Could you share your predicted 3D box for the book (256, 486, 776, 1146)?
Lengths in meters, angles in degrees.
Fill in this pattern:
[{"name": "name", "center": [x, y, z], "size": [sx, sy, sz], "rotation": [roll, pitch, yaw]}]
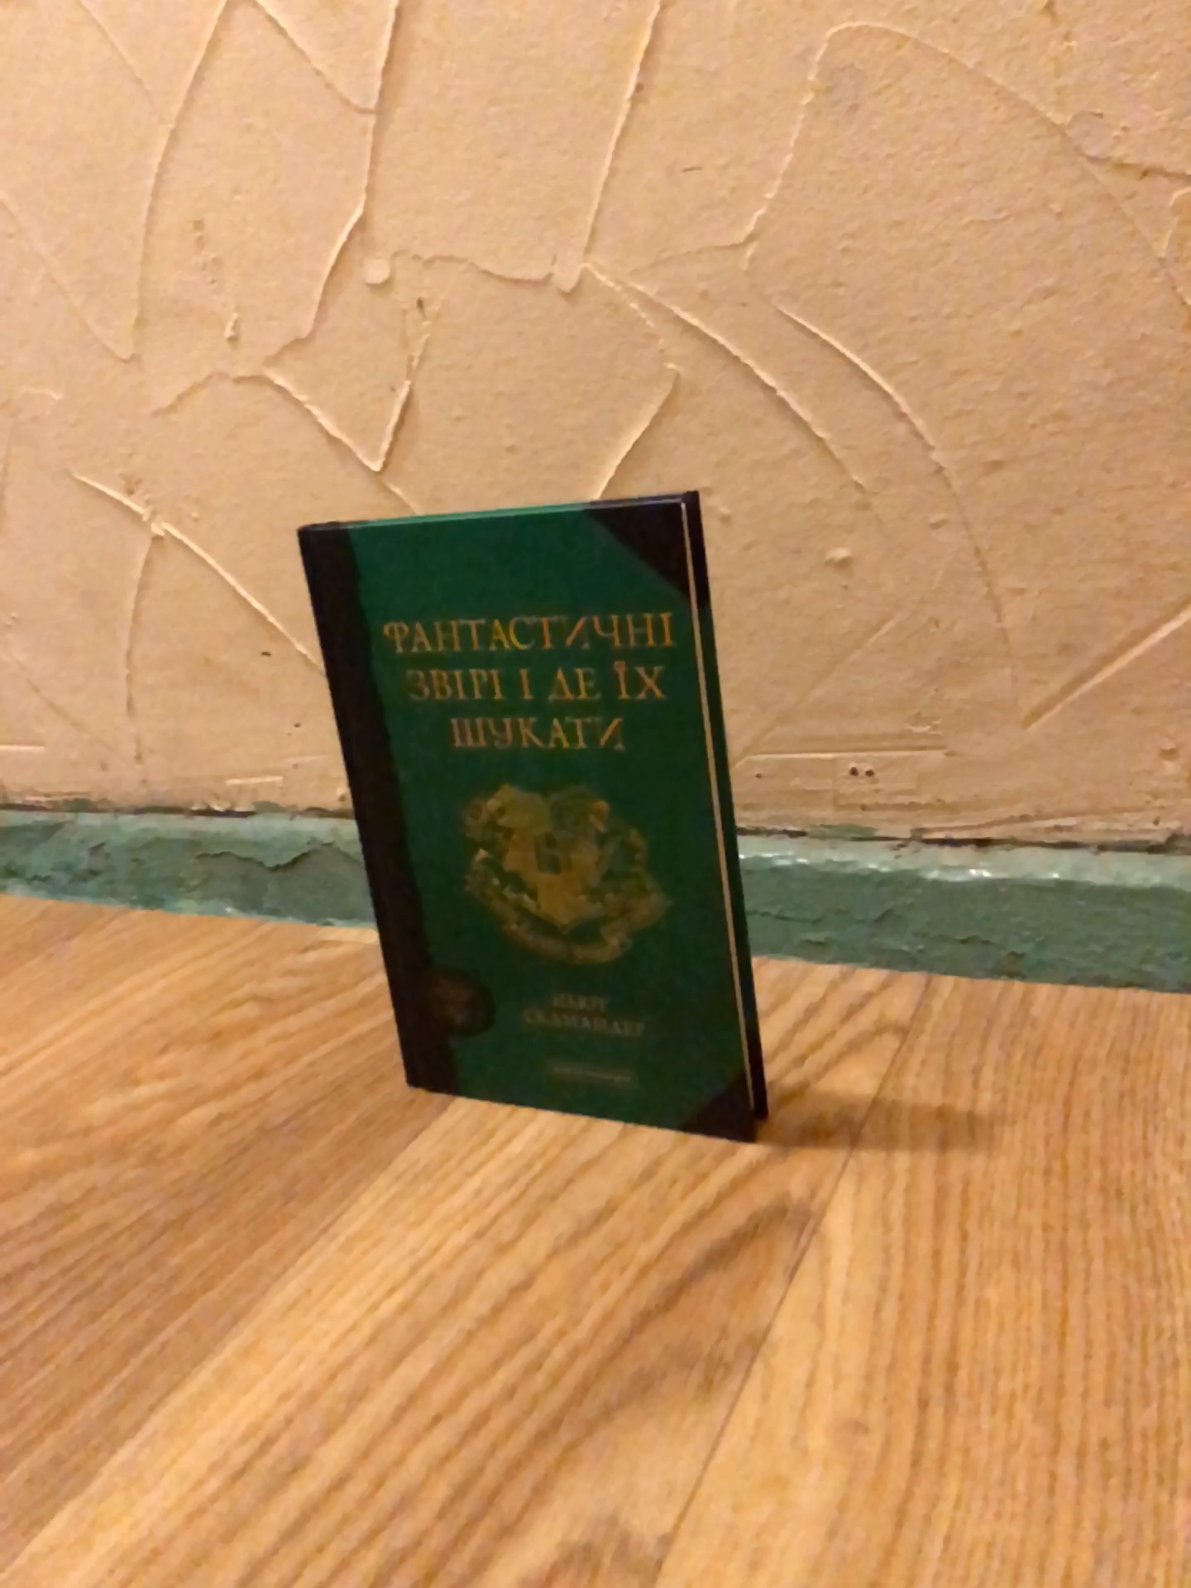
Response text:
[{"name": "book", "center": [-0.025, 0.009, 0.420], "size": [0.148, 0.197, 0.024], "rotation": [1, 19, 29]}]
